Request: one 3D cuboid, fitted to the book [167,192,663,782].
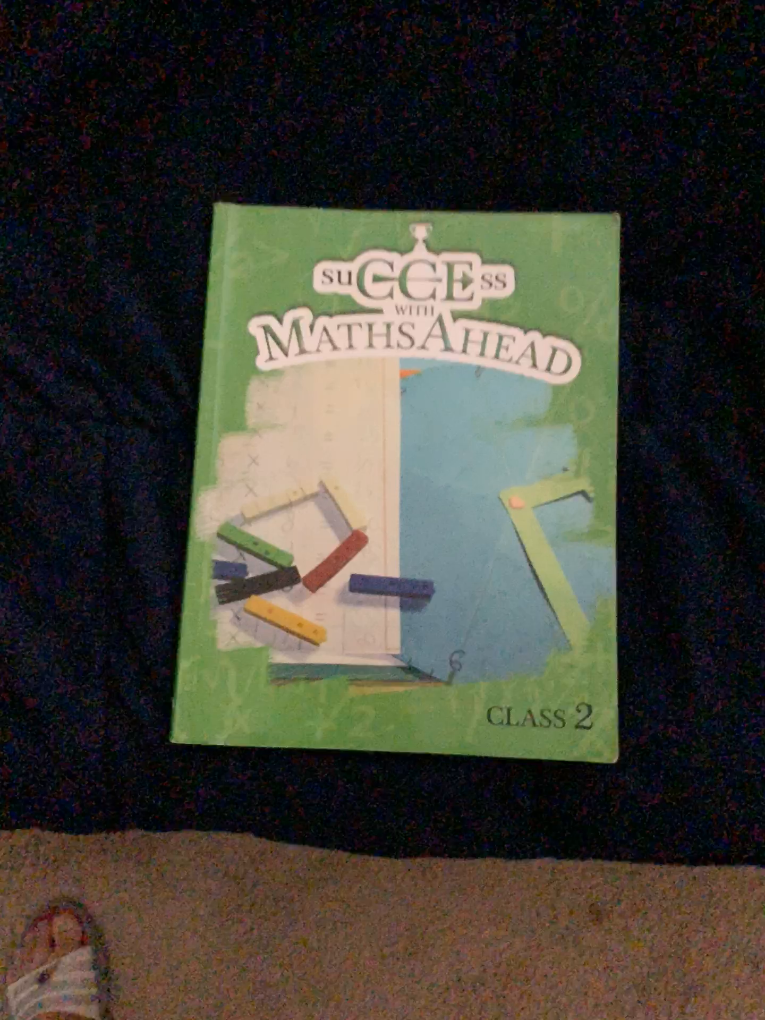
[{"bbox_3d":[0.019,-0.016,0.396,0.230,0.020,0.280,3,85,2],"label":"book"}]
